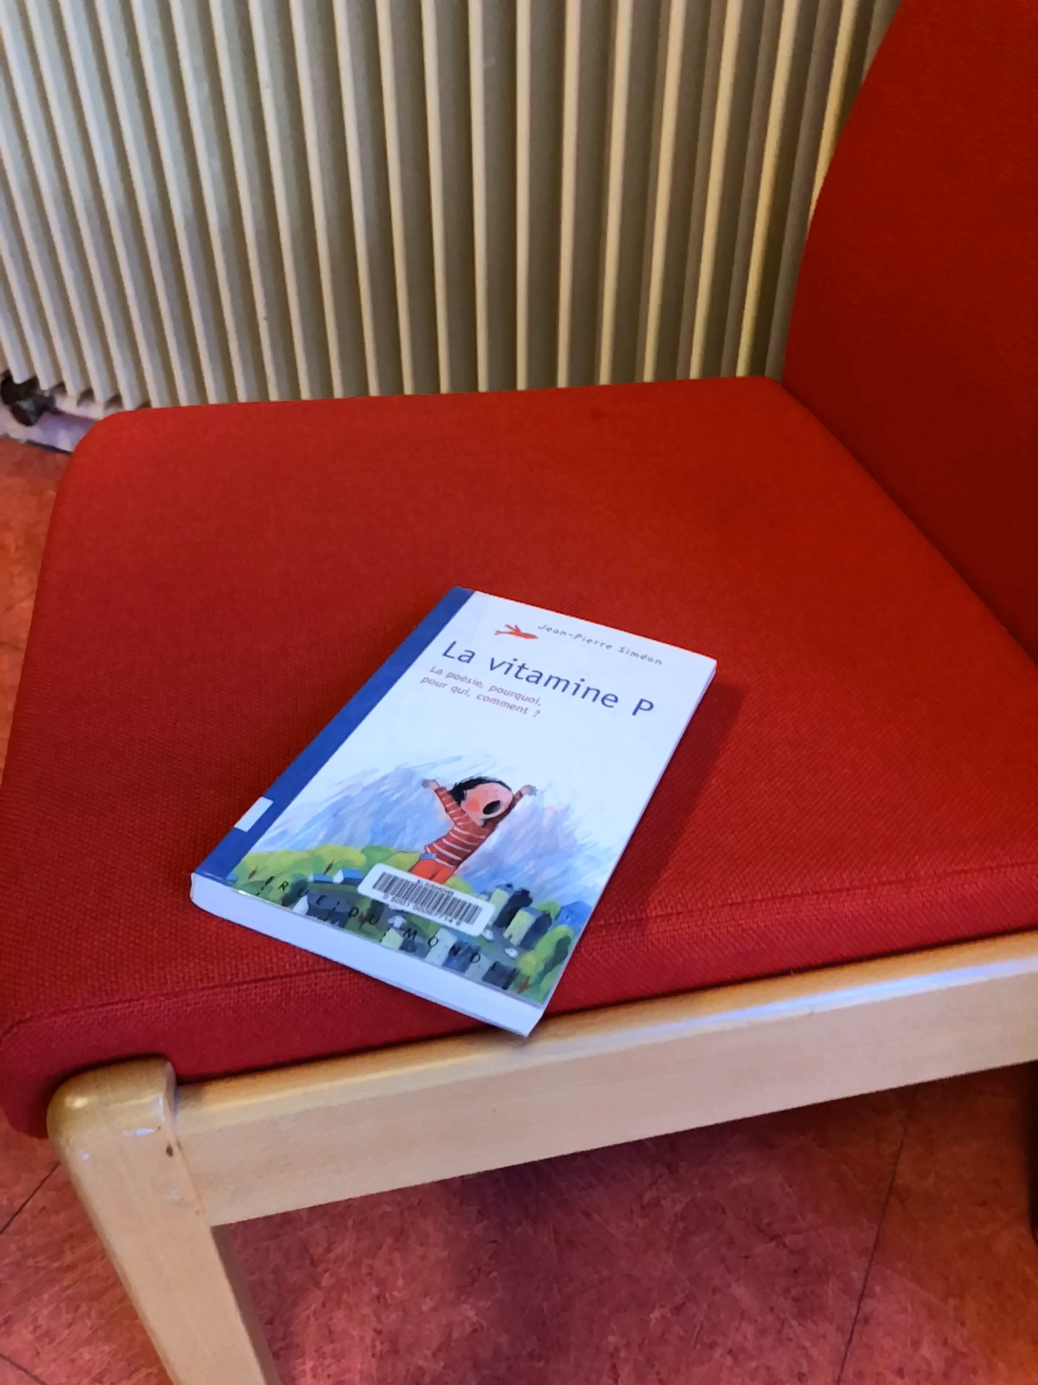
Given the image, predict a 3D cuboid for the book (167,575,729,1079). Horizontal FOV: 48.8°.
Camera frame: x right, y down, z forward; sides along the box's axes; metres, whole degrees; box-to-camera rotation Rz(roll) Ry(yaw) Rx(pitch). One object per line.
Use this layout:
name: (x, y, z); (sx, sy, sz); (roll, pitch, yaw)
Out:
book: (-0.016, 0.036, 0.475); (0.147, 0.027, 0.216); (16, 43, 18)
